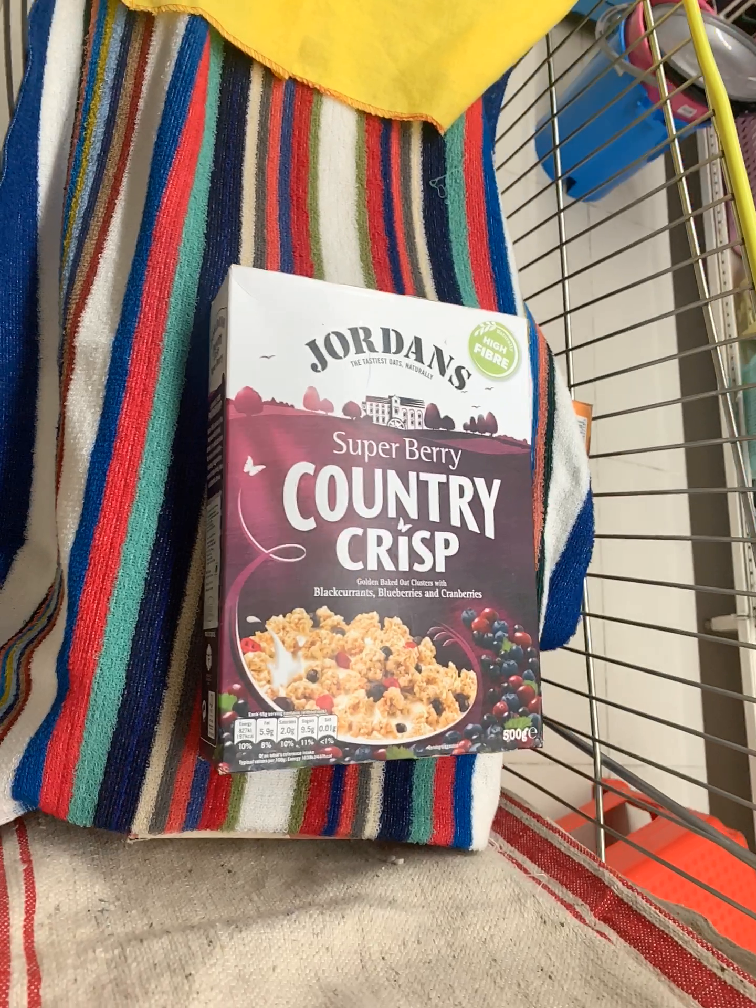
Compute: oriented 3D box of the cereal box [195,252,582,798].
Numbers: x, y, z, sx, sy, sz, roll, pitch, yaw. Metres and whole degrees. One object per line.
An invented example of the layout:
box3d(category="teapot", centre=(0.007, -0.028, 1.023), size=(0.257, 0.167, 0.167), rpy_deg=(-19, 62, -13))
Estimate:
box3d(category="cereal box", centre=(0.005, 0.011, 0.399), size=(0.180, 0.060, 0.240), rpy_deg=(3, 80, -22))
